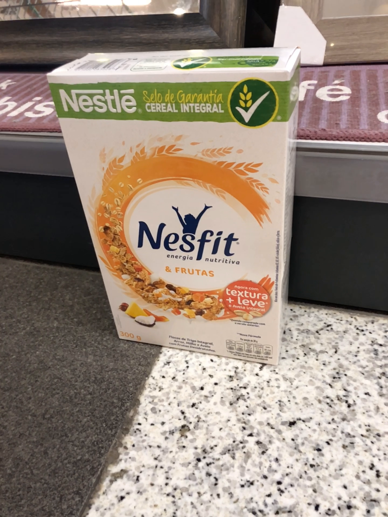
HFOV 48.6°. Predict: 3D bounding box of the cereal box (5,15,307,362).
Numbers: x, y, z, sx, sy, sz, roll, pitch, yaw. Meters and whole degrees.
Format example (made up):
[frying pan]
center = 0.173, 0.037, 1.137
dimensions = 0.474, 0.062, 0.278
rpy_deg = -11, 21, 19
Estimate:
[cereal box]
center = -0.011, -0.036, 0.331
dimensions = 0.170, 0.248, 0.060
rpy_deg = 5, 40, 16
